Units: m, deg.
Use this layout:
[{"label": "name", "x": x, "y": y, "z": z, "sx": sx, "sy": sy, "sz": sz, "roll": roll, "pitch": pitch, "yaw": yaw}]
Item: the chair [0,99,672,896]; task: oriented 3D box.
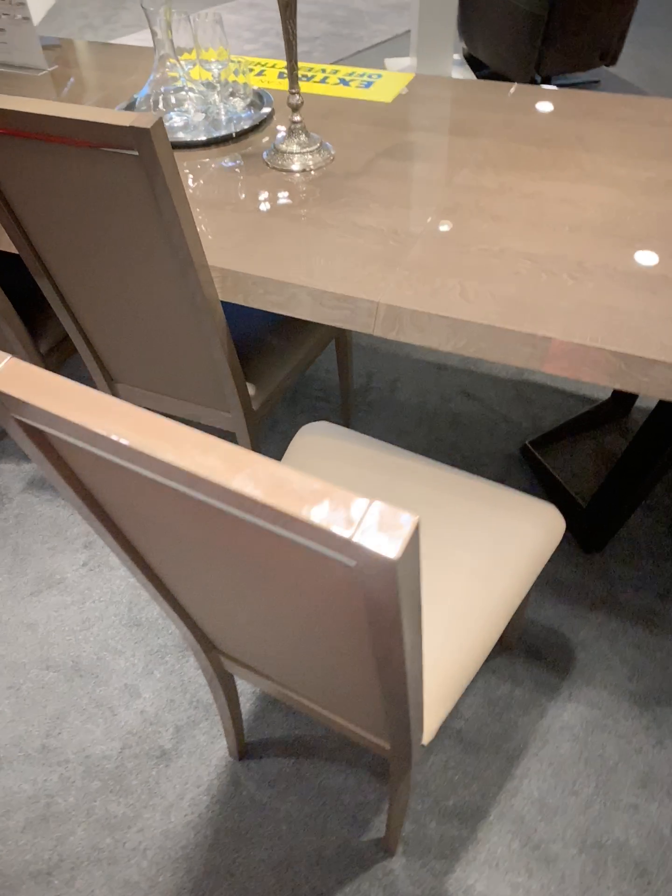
[{"label": "chair", "x": 0.027, "y": 0.145, "z": 0.956, "sx": 0.540, "sy": 0.946, "sz": 0.589, "roll": 17, "pitch": 49, "yaw": 20}]
